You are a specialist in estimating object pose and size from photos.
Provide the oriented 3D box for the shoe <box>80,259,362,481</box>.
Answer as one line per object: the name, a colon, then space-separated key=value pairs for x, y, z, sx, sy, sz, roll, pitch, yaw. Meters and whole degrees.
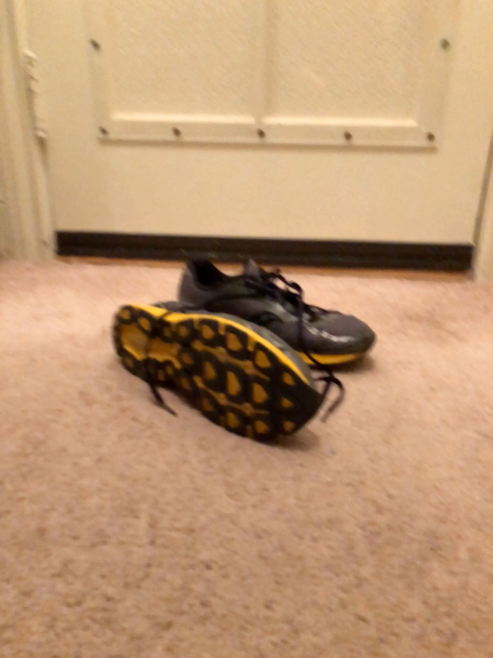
shoe: x=-0.039 y=0.022 z=0.568 sx=0.293 sy=0.117 sz=0.109 roll=20 pitch=31 yaw=37

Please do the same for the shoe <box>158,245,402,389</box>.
shoe: x=0.036 y=-0.029 z=0.687 sx=0.283 sy=0.099 sz=0.118 roll=14 pitch=26 yaw=28
